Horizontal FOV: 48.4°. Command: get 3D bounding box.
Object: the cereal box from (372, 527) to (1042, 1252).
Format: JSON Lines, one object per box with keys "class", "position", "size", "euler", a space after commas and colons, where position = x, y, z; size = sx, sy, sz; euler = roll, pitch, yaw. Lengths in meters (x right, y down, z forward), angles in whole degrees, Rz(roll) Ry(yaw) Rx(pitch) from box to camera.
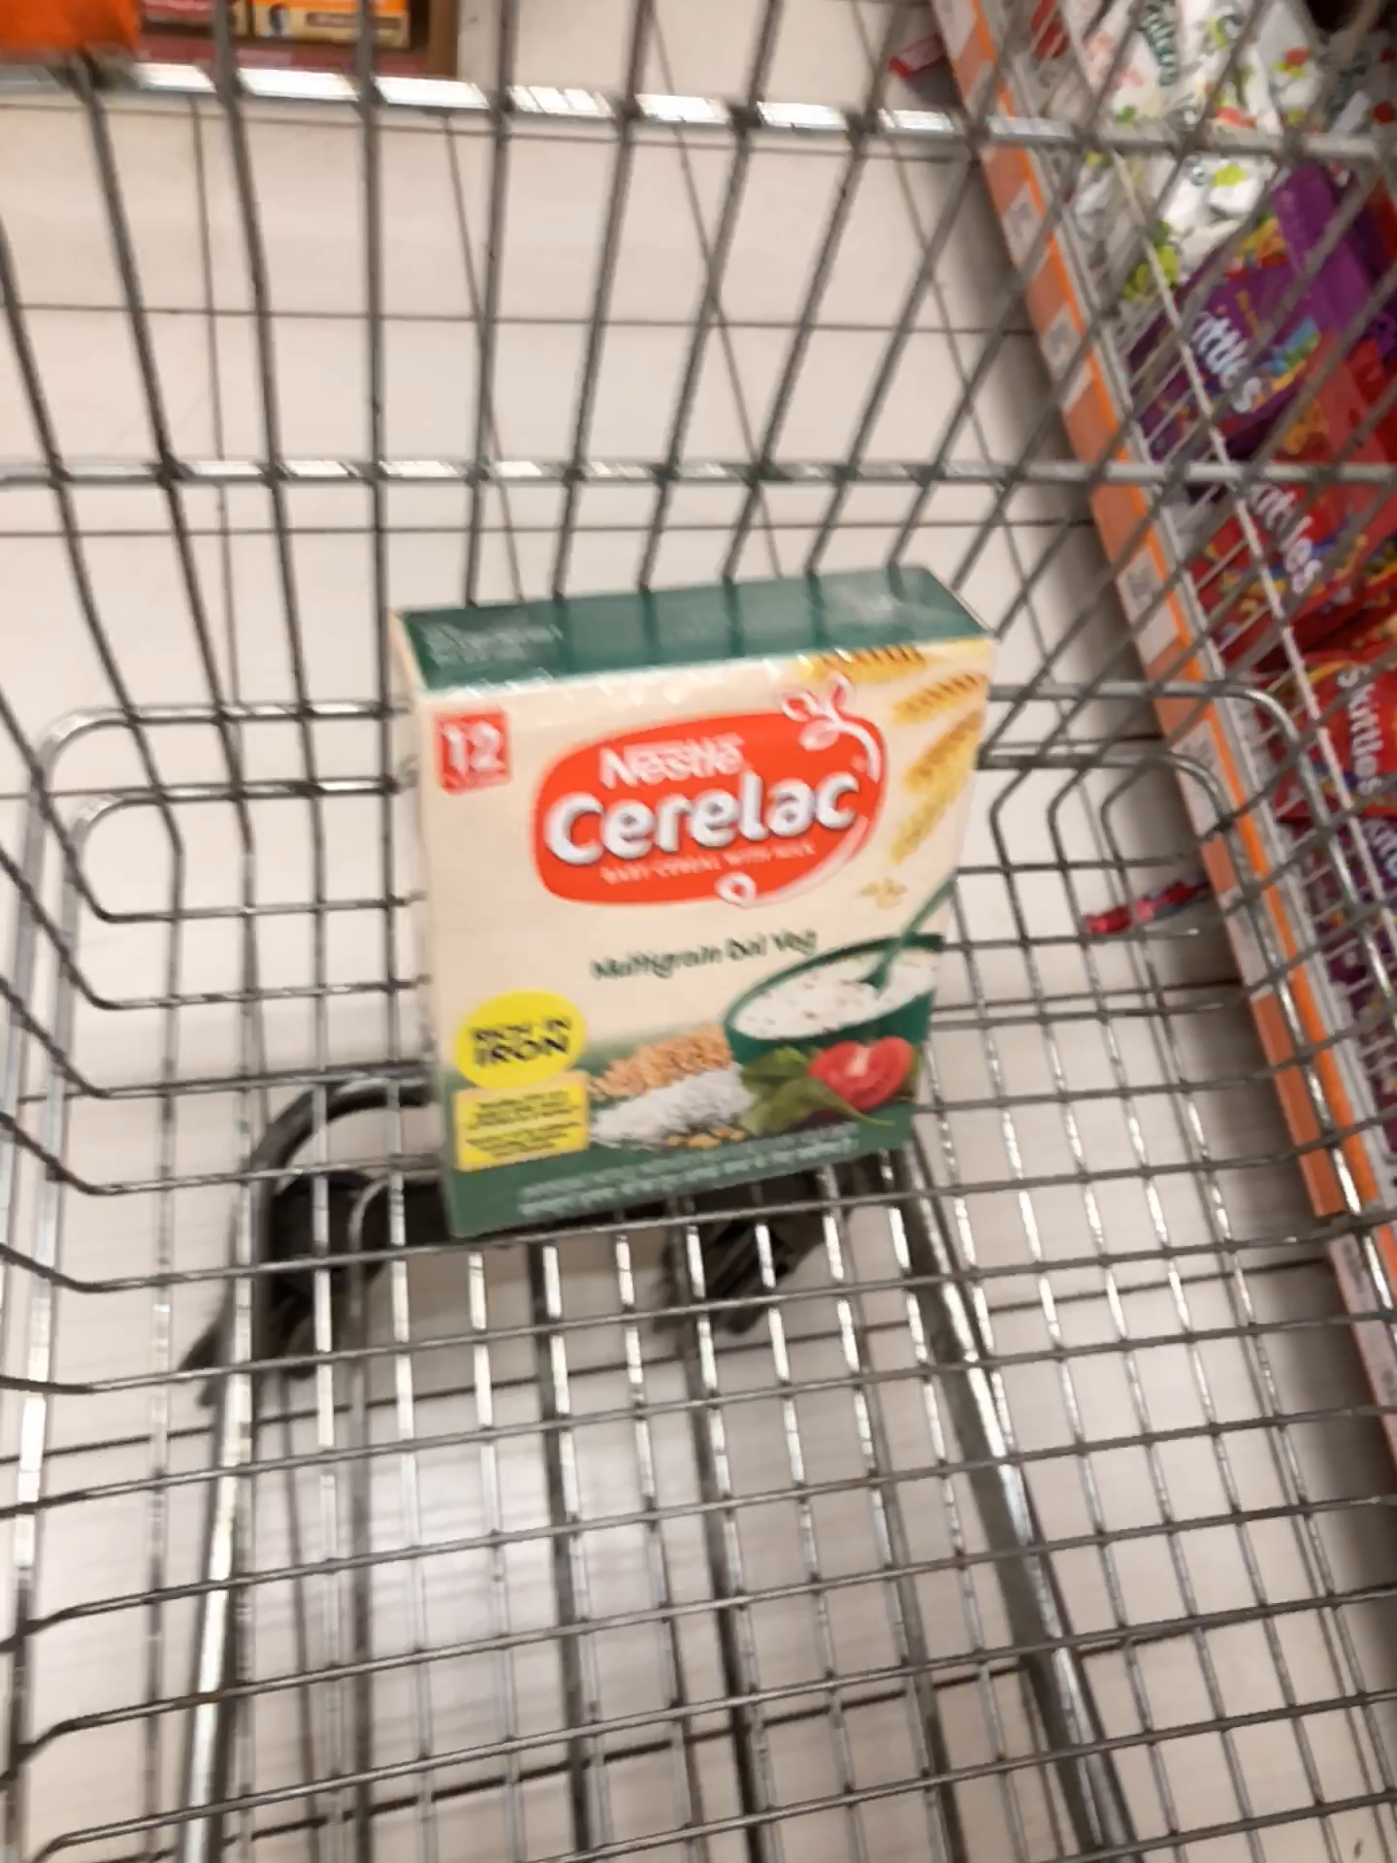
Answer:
{"class": "cereal box", "position": [-0.002, -0.009, 0.443], "size": [0.160, 0.189, 0.050], "euler": [-9, 37, -16]}
